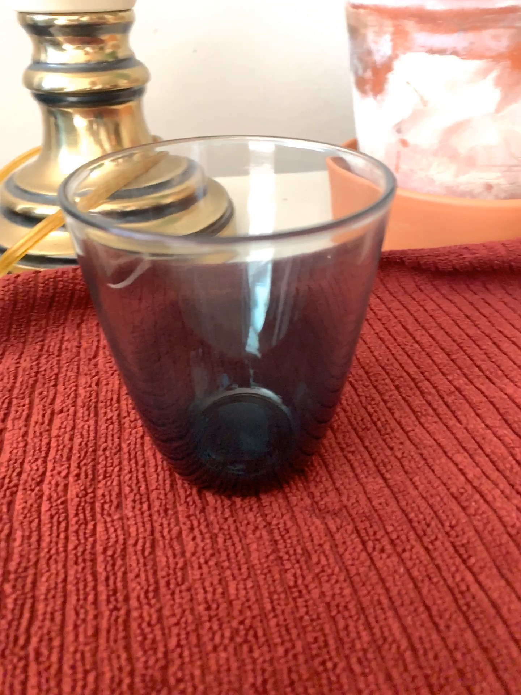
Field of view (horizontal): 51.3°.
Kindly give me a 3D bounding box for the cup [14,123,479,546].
[{"bbox_3d":[-0.007,-0.016,0.155,0.086,0.070,0.084,0,32,0],"label":"cup"}]
